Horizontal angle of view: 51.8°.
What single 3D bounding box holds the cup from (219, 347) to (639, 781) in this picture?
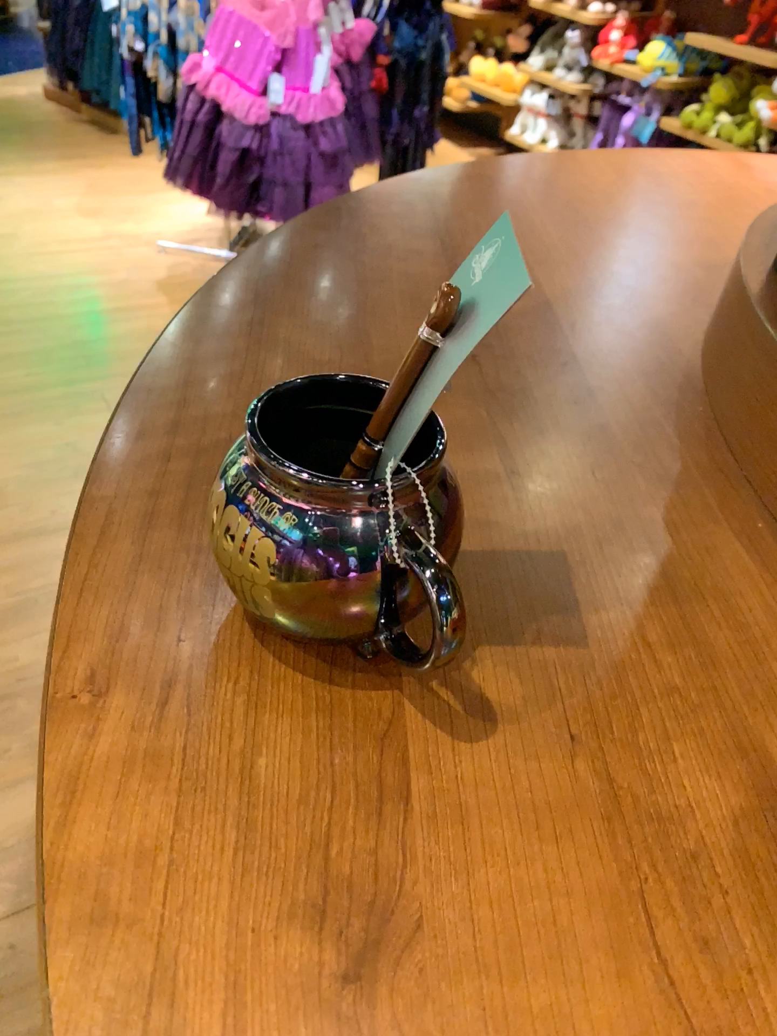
[{"bbox_3d":[0.006,0.008,0.330,0.100,0.089,0.137,-18,45,-29],"label":"cup"}]
